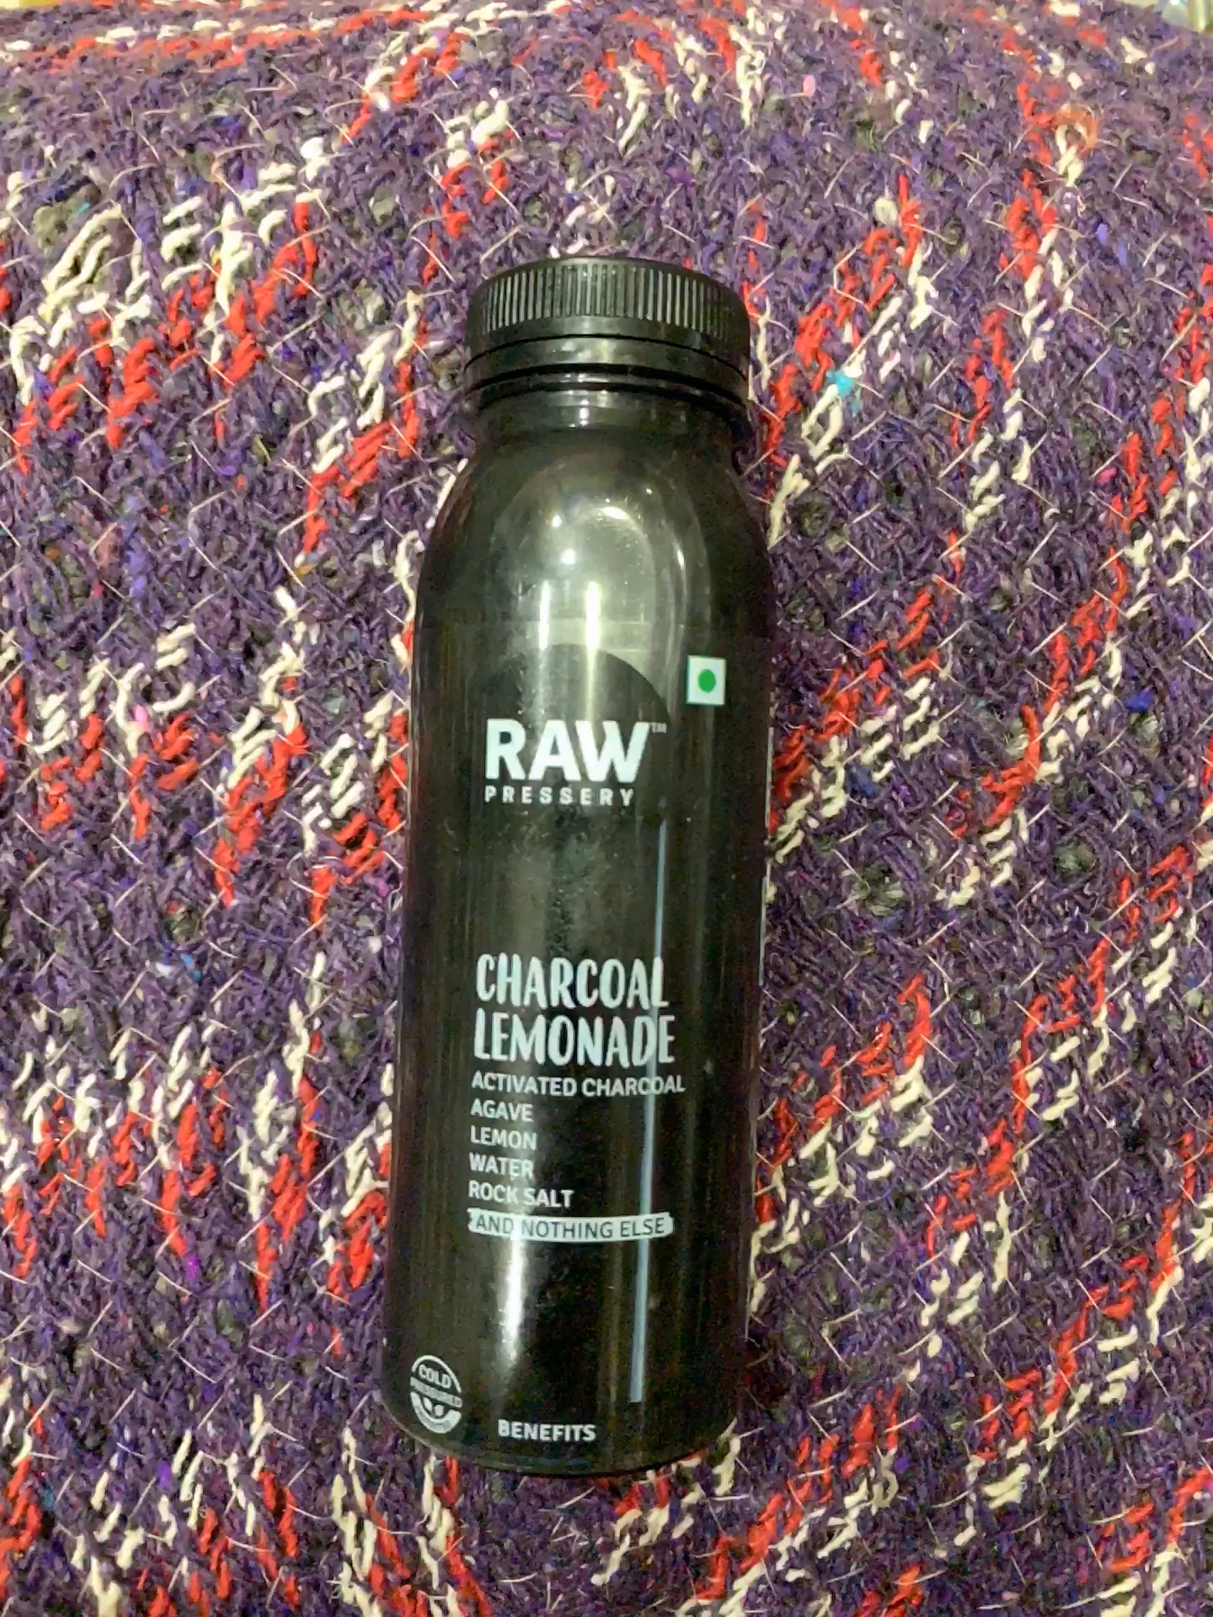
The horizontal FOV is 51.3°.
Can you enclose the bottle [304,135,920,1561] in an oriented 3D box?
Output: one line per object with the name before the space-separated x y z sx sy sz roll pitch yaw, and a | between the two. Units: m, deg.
bottle | -0.001 0.006 0.169 0.060 0.050 0.160 4 94 -1
